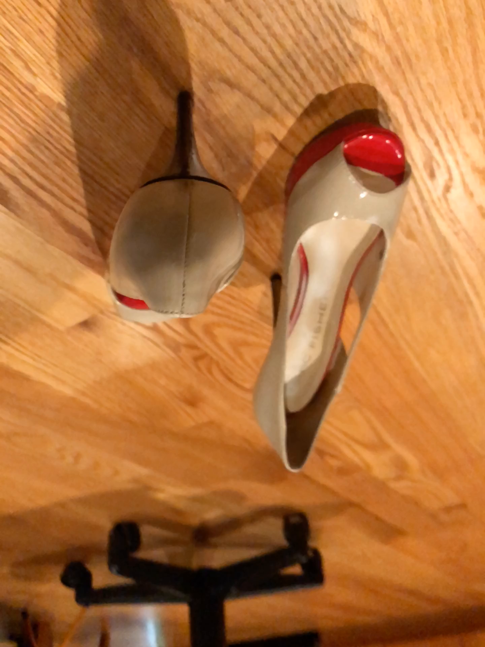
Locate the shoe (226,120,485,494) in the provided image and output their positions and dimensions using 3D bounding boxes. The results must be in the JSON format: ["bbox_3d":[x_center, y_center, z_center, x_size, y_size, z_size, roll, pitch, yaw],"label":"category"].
[{"bbox_3d":[0.056,0.007,0.373,0.080,0.149,0.221,5,144,-14],"label":"shoe"}]

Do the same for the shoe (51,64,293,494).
[{"bbox_3d":[-0.057,-0.002,0.311,0.085,0.129,0.216,6,144,-16],"label":"shoe"}]
